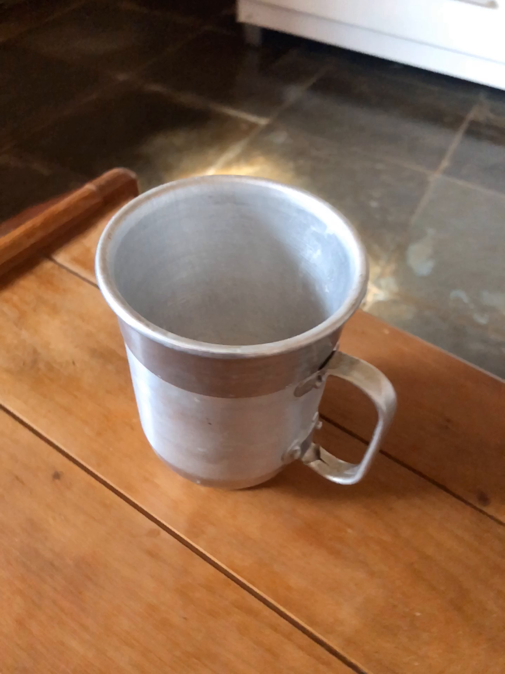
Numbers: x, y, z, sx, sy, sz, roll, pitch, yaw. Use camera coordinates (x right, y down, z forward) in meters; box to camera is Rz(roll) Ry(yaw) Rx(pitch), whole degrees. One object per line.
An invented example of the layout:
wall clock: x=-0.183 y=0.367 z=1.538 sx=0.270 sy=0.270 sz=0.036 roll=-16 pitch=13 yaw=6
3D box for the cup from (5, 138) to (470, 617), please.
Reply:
cup: x=-0.005 y=0.016 z=0.238 sx=0.120 sy=0.129 sz=0.101 roll=30 pitch=53 yaw=21
